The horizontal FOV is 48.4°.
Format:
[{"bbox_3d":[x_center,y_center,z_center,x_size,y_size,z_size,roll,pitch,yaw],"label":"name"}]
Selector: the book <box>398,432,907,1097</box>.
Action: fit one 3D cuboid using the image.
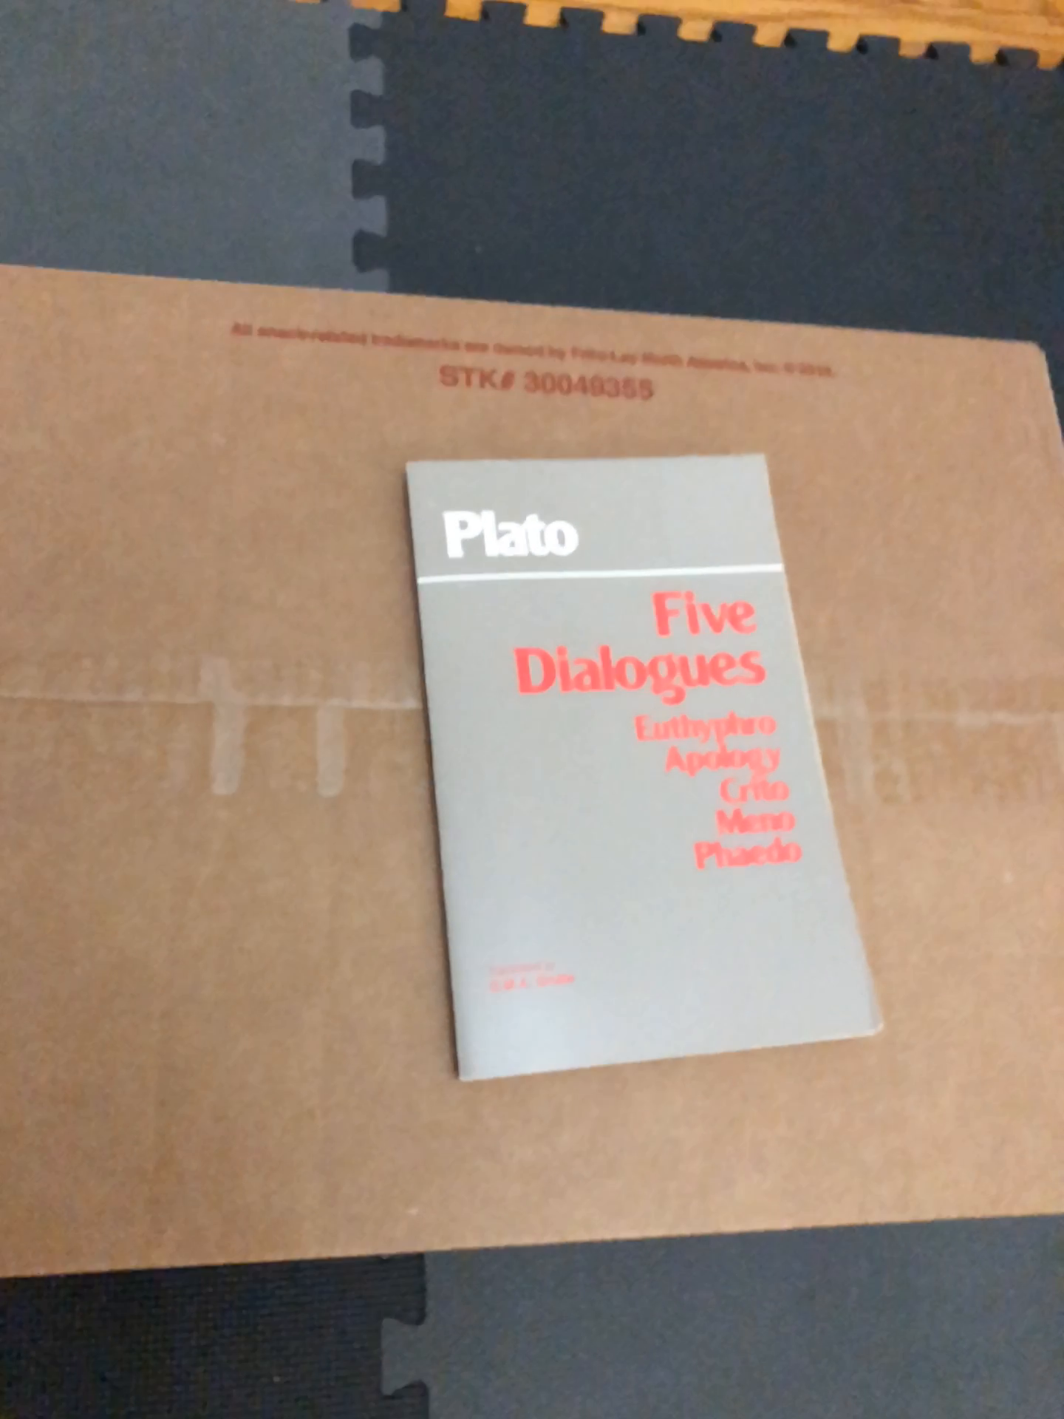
[{"bbox_3d":[0.035,0.008,0.406,0.140,0.020,0.220,-4,72,-12],"label":"book"}]
